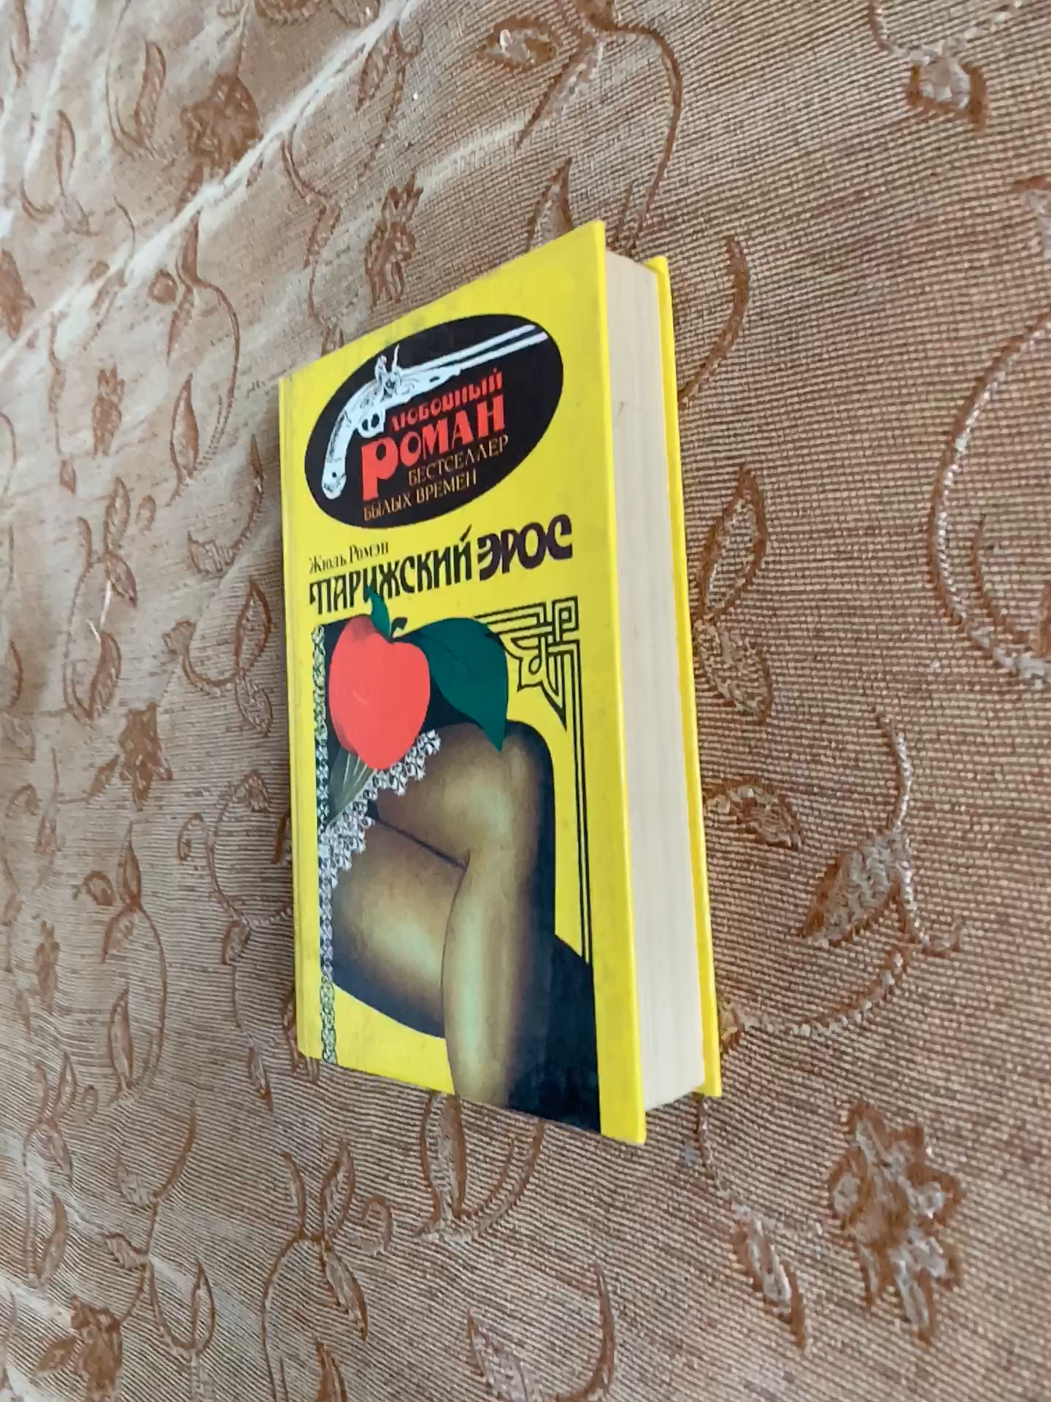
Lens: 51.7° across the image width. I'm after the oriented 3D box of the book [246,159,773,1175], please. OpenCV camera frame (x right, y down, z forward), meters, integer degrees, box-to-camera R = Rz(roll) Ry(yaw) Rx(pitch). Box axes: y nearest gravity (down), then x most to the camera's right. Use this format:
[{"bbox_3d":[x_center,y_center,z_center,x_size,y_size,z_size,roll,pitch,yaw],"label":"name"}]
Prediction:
[{"bbox_3d":[-0.013,-0.004,0.267,0.131,0.040,0.196,-6,85,44],"label":"book"}]
